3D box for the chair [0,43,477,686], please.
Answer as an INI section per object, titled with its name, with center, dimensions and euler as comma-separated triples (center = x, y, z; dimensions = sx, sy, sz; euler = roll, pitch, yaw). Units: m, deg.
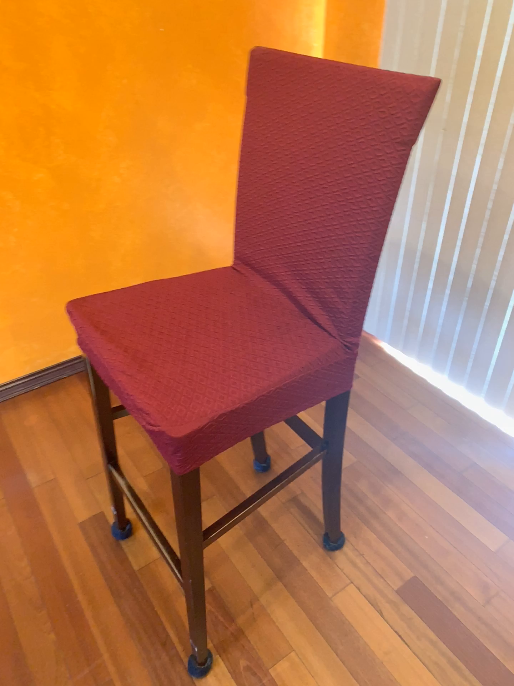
[chair]
center = -0.067, 0.056, 1.004
dimensions = 0.506, 1.027, 0.471
euler = -22, 41, -29
